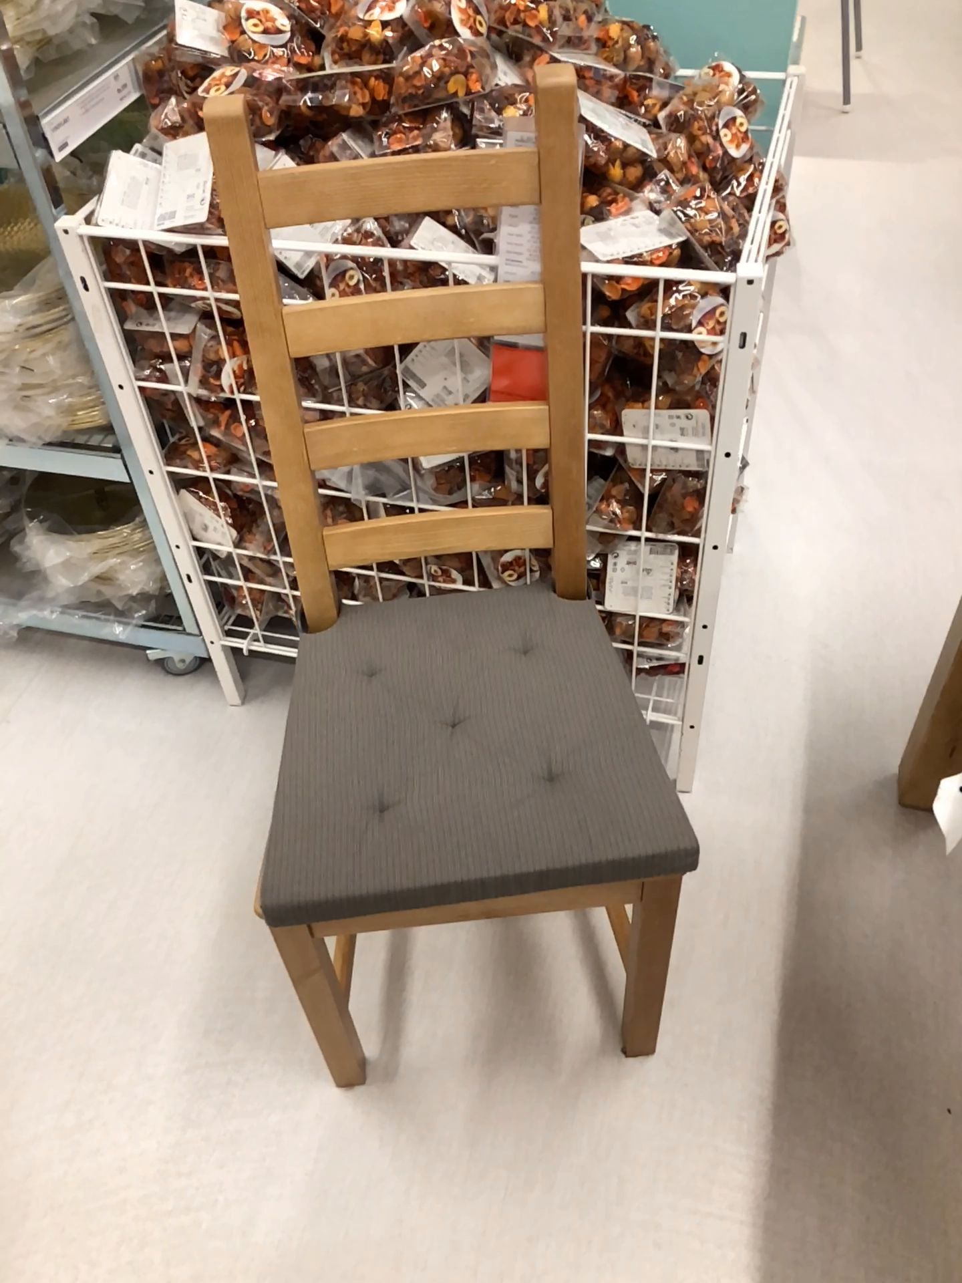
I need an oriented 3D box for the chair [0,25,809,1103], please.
[{"bbox_3d":[-0.047,0.006,1.018,0.430,0.914,0.473,-6,46,-2],"label":"chair"}]
